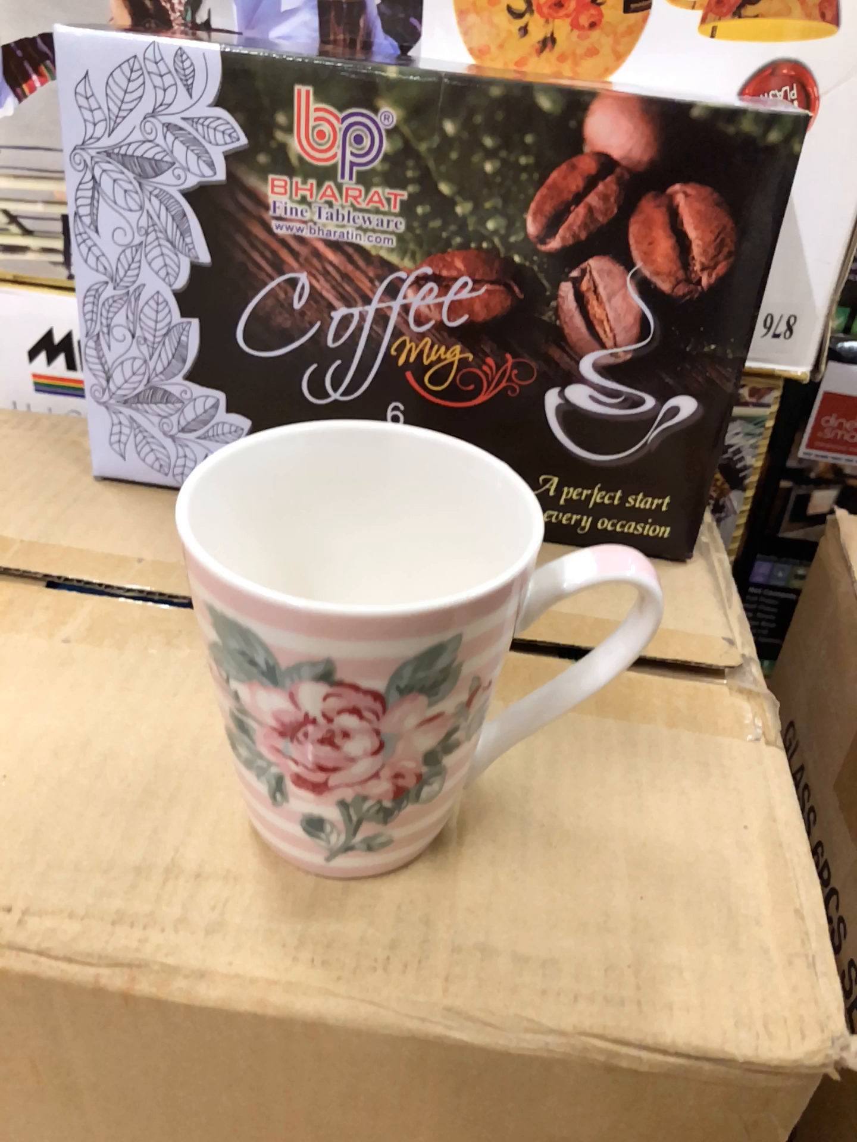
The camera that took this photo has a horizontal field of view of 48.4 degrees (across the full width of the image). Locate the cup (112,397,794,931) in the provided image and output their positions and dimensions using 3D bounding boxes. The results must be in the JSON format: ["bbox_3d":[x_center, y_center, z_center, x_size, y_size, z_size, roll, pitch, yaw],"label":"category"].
[{"bbox_3d":[0.002,0.021,0.243,0.130,0.089,0.091,4,34,-2],"label":"cup"}]
